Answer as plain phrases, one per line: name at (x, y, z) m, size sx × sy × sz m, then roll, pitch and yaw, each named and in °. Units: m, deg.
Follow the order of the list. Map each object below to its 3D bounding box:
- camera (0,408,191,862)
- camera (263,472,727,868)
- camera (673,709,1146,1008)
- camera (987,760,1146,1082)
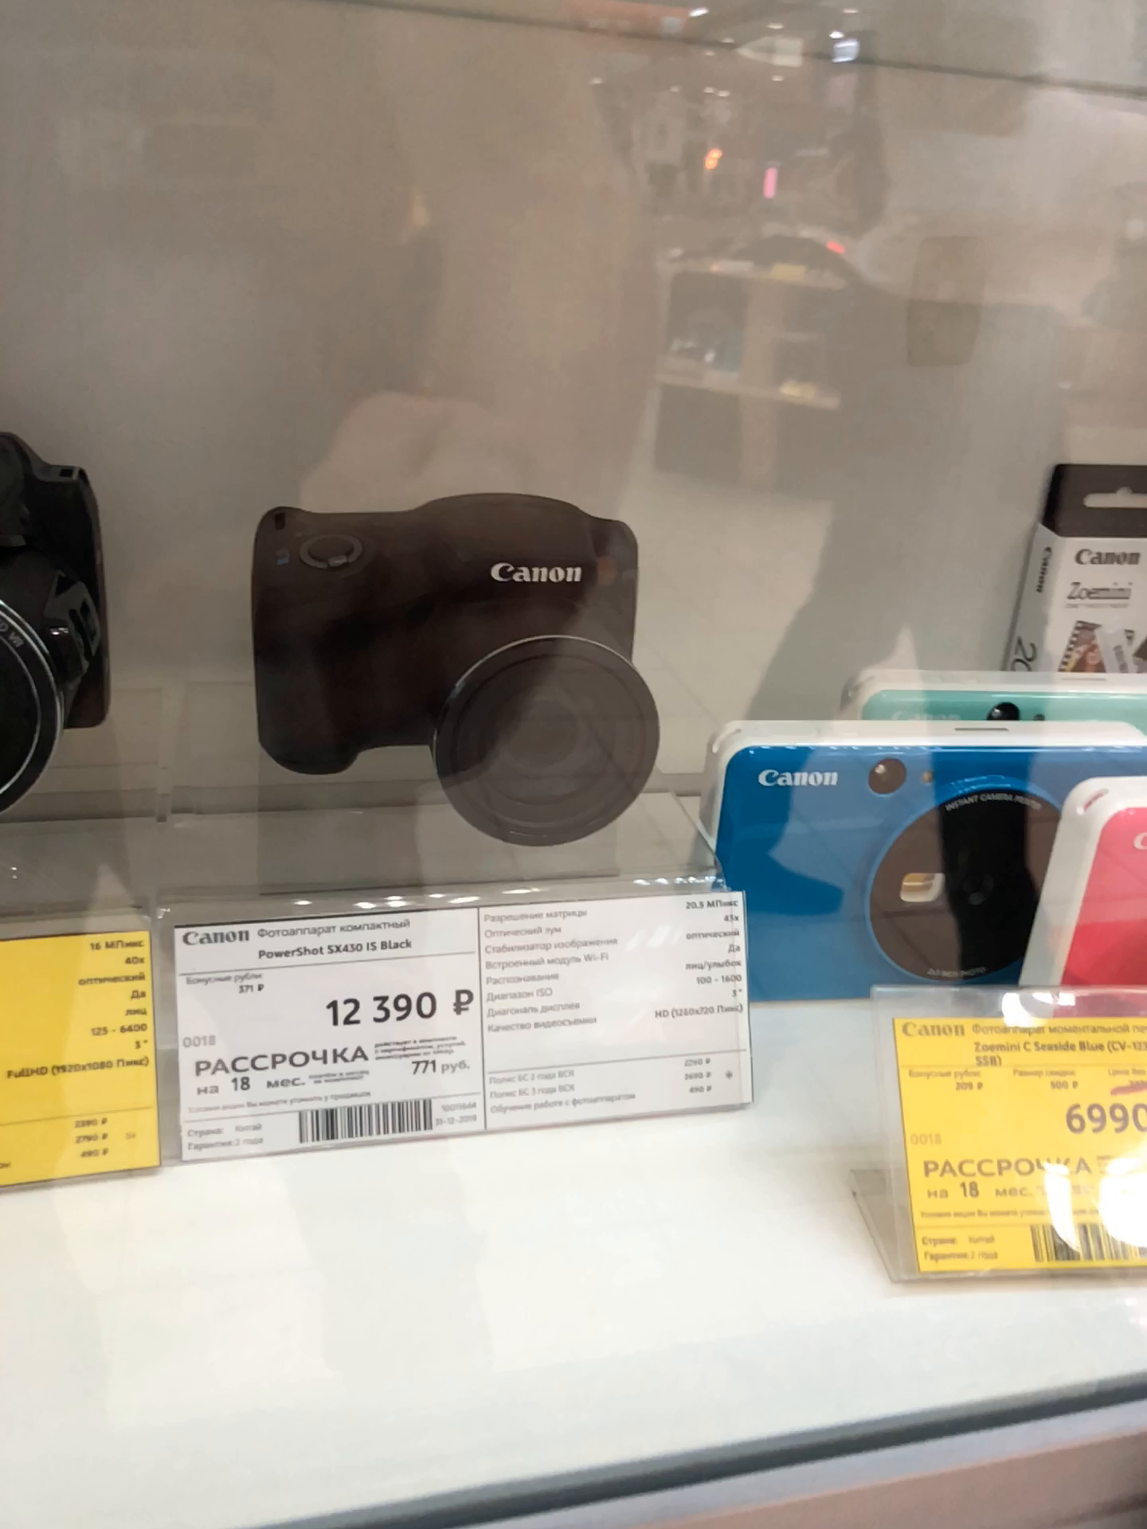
camera at (-0.145, -0.034, 0.291) m, size 0.100 × 0.073 × 0.093 m, roll -1°, pitch 25°, yaw -12°
camera at (-0.027, -0.029, 0.325) m, size 0.100 × 0.070 × 0.093 m, roll -1°, pitch 25°, yaw -12°
camera at (0.091, 0.025, 0.341) m, size 0.118 × 0.073 × 0.028 m, roll 0°, pitch 25°, yaw -10°
camera at (0.173, 0.038, 0.319) m, size 0.118 × 0.073 × 0.028 m, roll 0°, pitch 25°, yaw -10°
